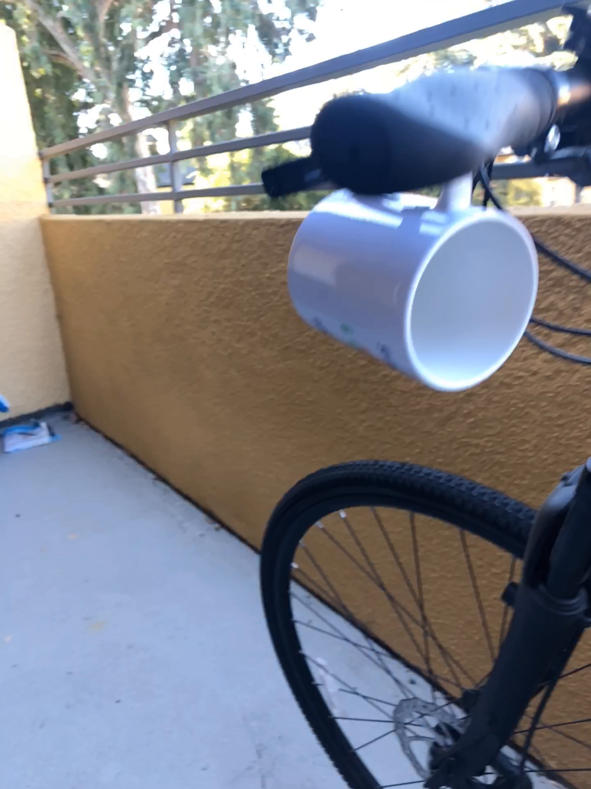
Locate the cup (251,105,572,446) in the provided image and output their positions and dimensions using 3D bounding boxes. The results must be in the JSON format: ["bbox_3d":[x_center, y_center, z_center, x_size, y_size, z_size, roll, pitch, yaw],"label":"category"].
[{"bbox_3d":[0.052,-0.064,0.317,0.090,0.119,0.120,-17,24,-20],"label":"cup"}]
